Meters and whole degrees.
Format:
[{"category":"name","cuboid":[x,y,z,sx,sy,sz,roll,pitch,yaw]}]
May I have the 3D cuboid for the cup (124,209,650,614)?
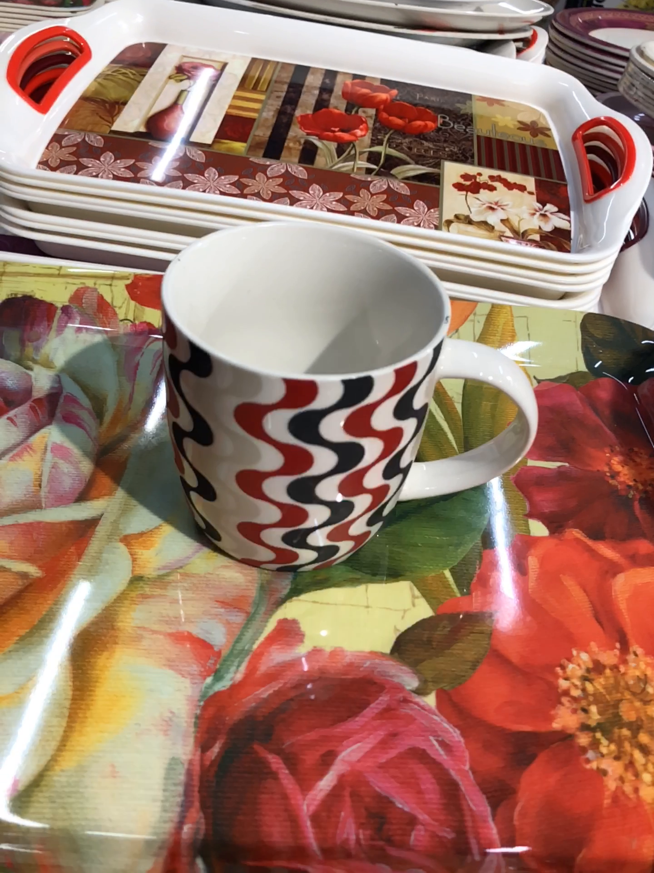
[{"category":"cup","cuboid":[0.012,-0.010,0.237,0.130,0.079,0.091,6,39,-3]}]
